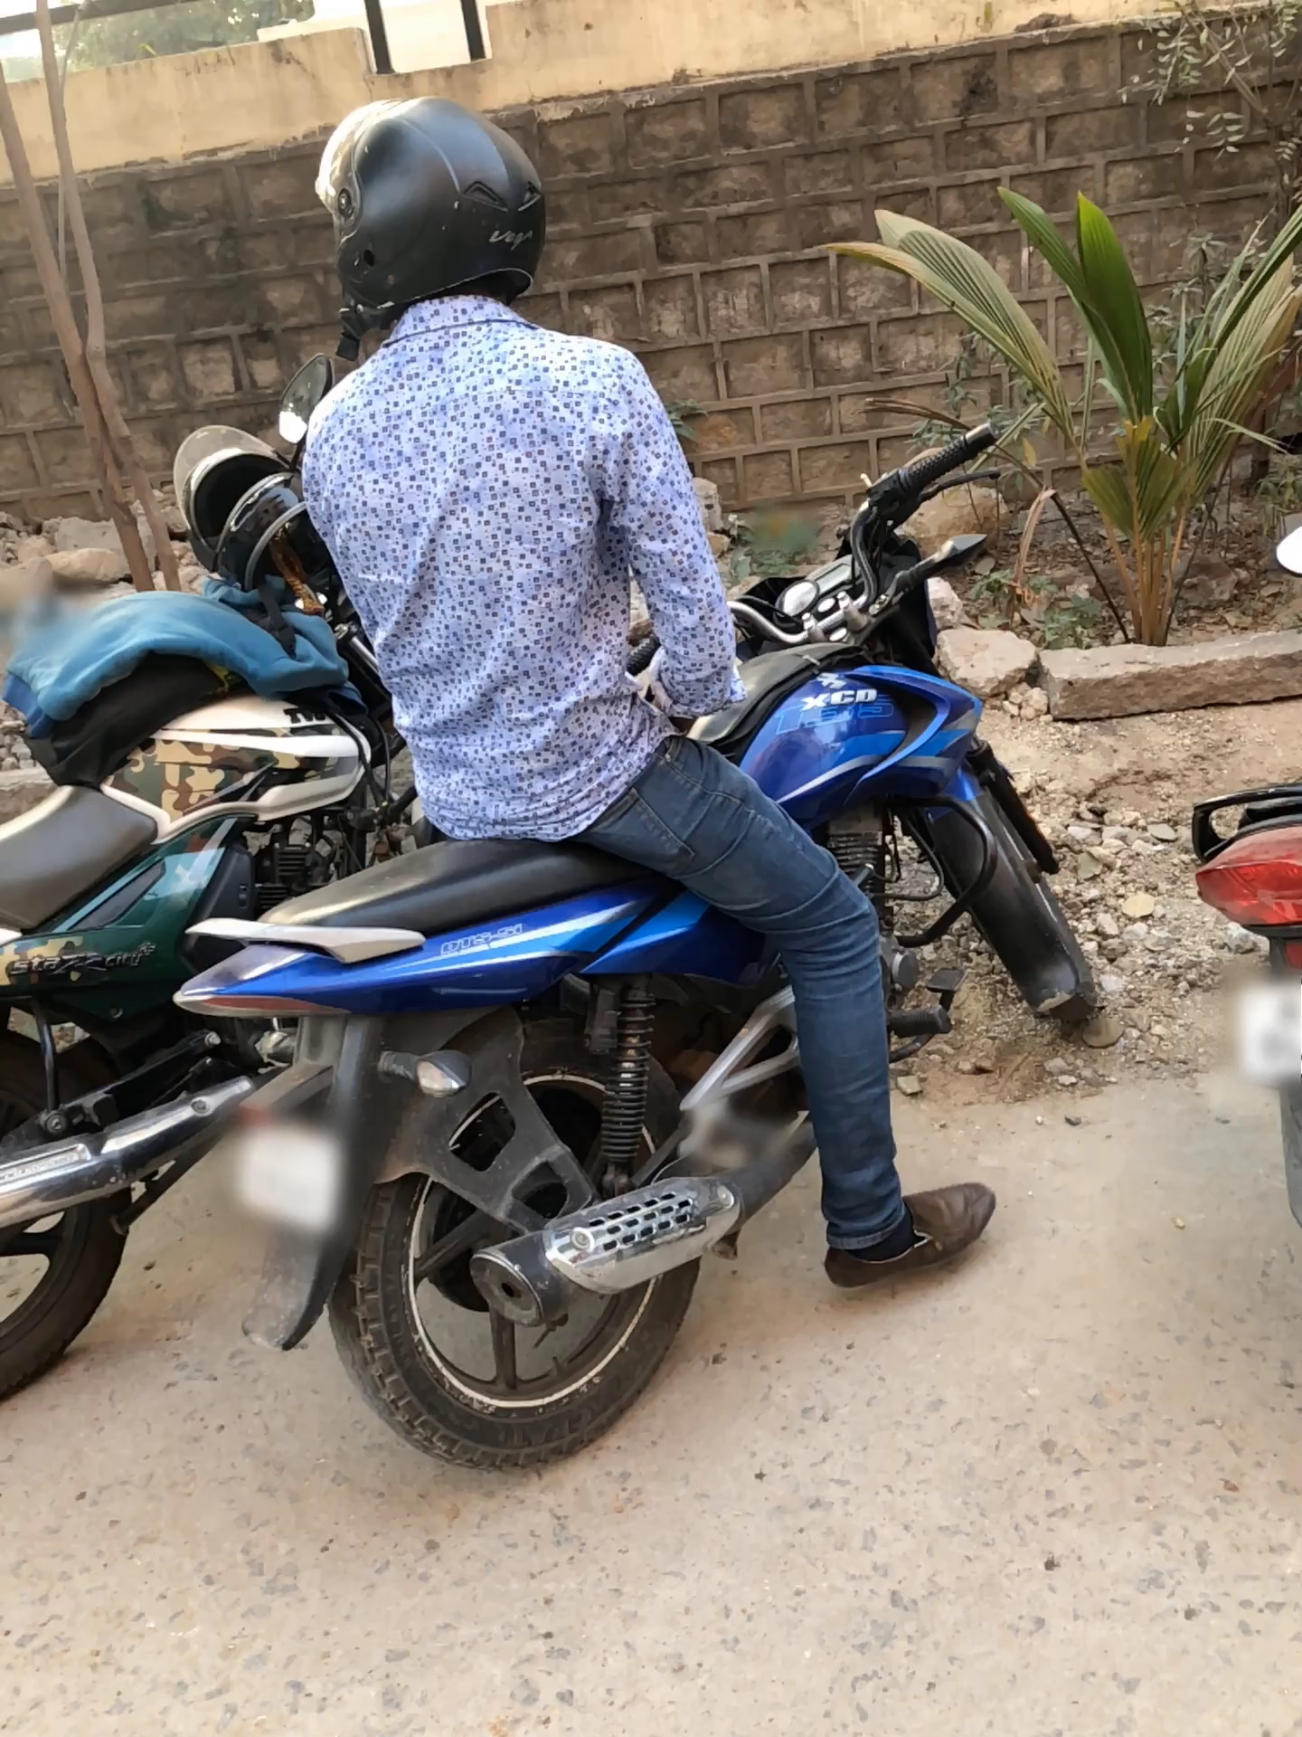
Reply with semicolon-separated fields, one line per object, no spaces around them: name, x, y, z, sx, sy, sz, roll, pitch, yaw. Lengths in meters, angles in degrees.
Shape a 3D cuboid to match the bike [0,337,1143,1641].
bike;0.055;-0.038;2.138;0.755;1.076;1.581;13;34;39
